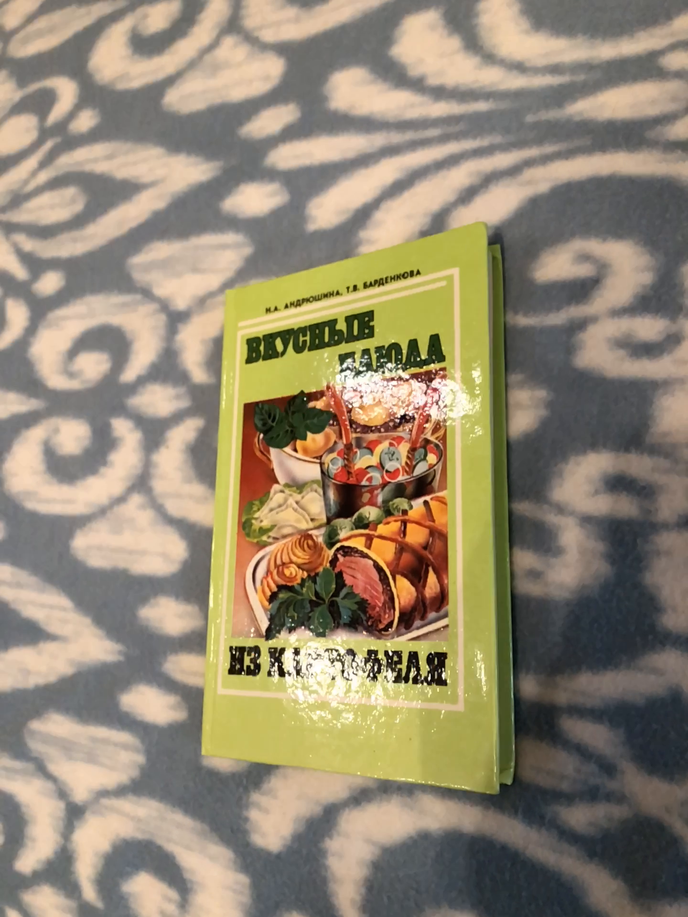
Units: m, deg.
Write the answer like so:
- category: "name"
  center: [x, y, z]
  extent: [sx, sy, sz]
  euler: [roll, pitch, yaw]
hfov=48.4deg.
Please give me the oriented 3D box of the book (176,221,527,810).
- category: "book"
  center: [-0.001, 0.020, 0.304]
  extent: [0.136, 0.025, 0.201]
  euler: [-7, 75, 31]
